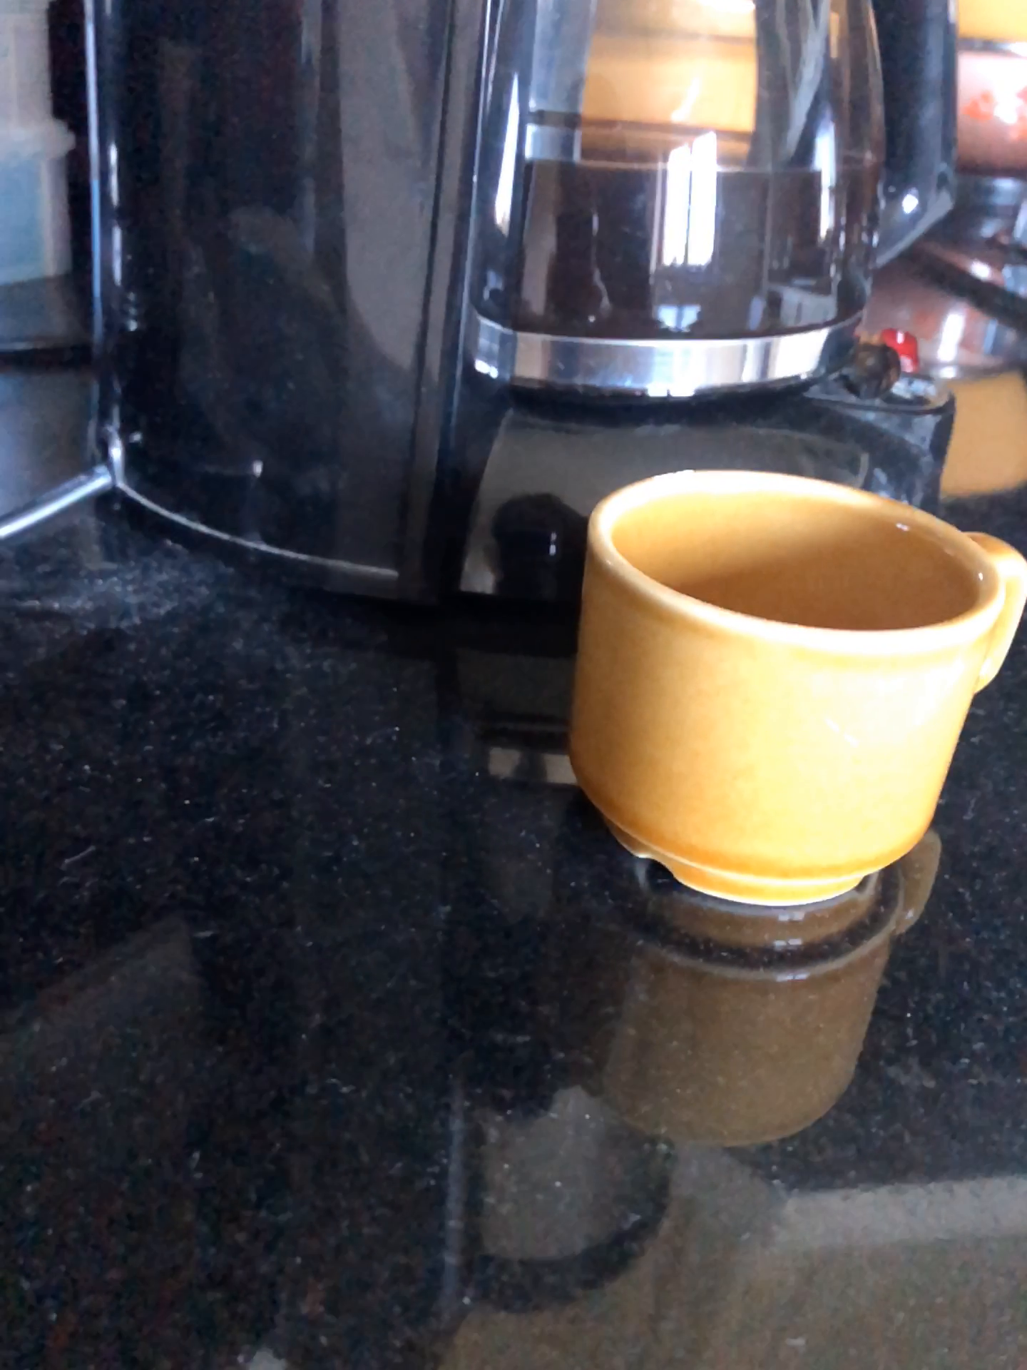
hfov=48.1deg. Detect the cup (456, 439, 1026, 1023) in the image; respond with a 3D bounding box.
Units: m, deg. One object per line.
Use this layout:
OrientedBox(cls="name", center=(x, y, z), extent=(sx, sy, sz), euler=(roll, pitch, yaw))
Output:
OrientedBox(cls="cup", center=(0.052, -0.001, 0.196), extent=(0.100, 0.050, 0.070), euler=(-13, 35, -28))
